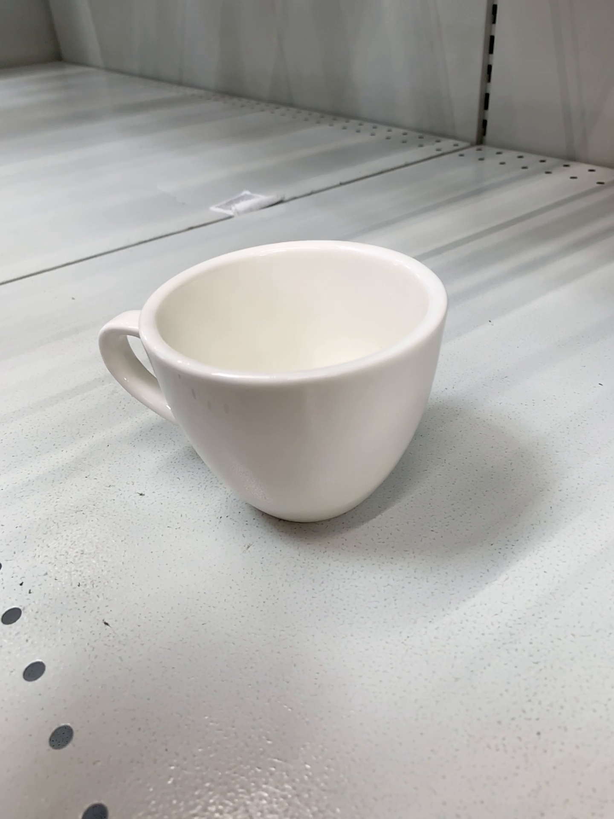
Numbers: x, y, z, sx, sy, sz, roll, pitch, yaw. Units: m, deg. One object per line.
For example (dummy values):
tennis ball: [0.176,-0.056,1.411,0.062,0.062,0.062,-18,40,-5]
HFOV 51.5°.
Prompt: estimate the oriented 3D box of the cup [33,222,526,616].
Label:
cup: [-0.003,-0.009,0.224,0.128,0.072,0.096,13,38,24]
